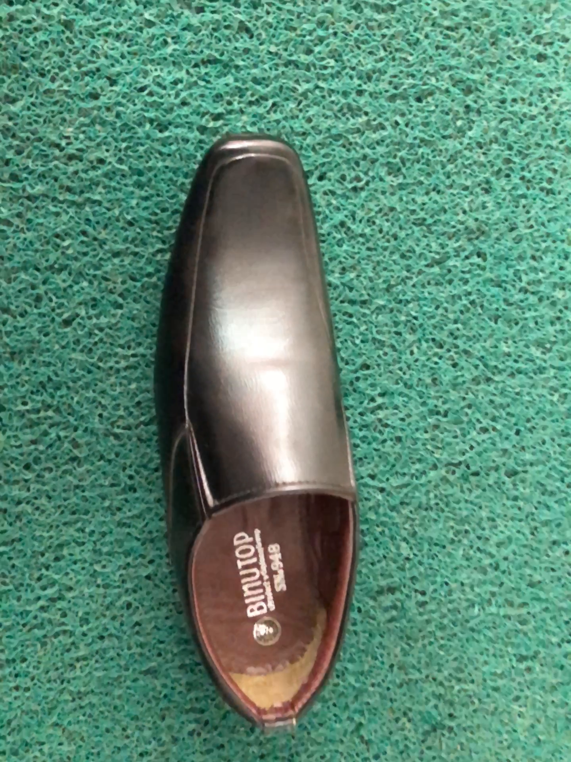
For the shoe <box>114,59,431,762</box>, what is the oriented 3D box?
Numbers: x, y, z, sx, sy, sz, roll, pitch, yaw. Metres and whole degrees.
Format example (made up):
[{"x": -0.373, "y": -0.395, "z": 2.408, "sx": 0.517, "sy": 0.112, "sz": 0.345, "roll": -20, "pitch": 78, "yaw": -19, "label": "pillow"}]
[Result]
[{"x": -0.010, "y": 0.012, "z": 0.309, "sx": 0.110, "sy": 0.130, "sz": 0.270, "roll": -4, "pitch": 98, "yaw": -10, "label": "shoe"}]
